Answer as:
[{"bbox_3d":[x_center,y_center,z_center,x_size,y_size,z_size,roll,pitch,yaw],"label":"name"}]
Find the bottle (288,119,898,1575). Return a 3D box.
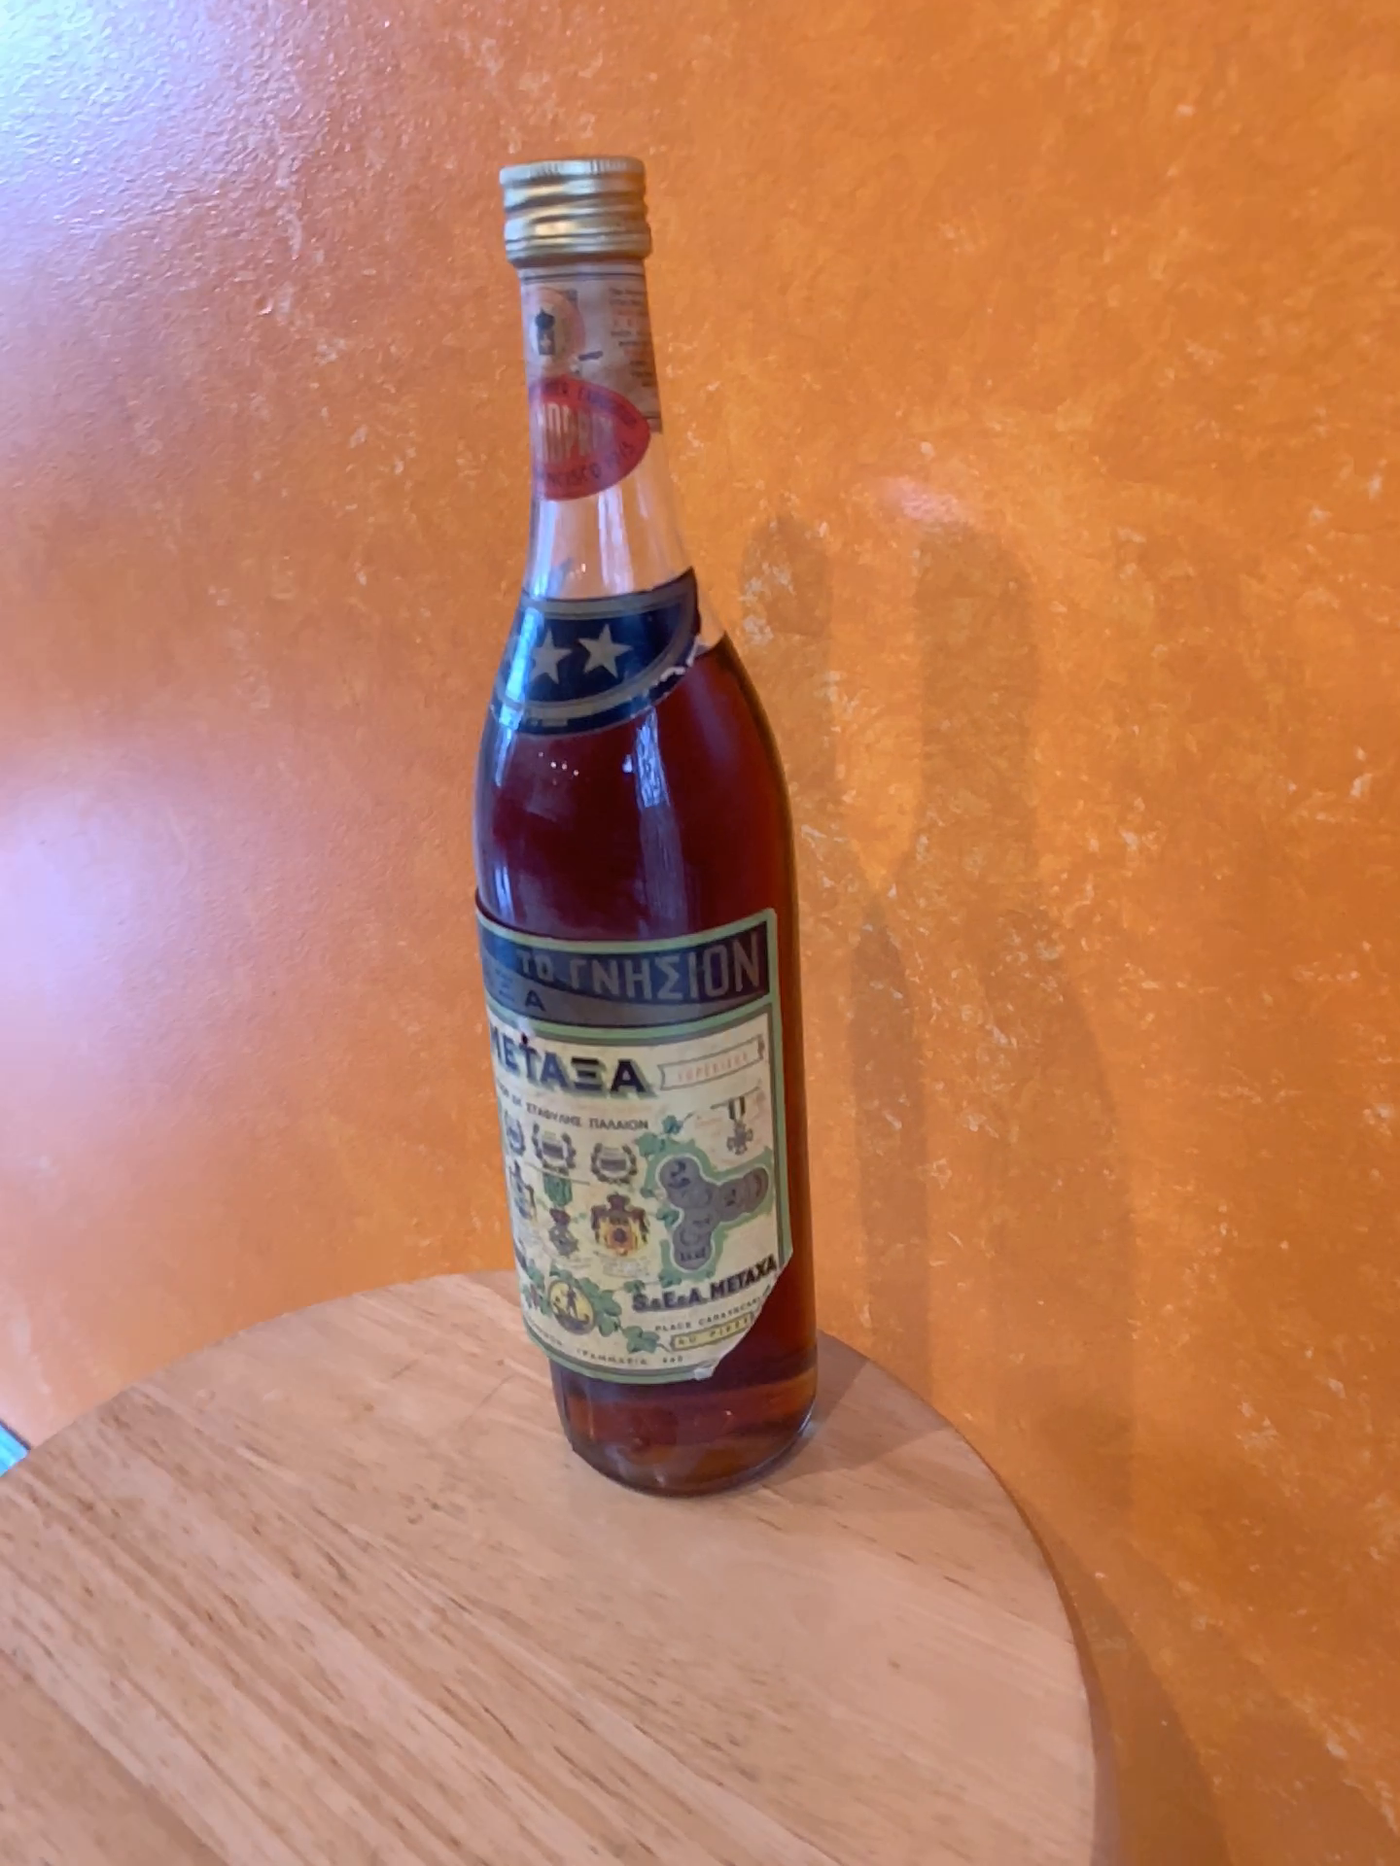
[{"bbox_3d":[-0.011,-0.007,0.323,0.080,0.298,0.070,16,31,38],"label":"bottle"}]
